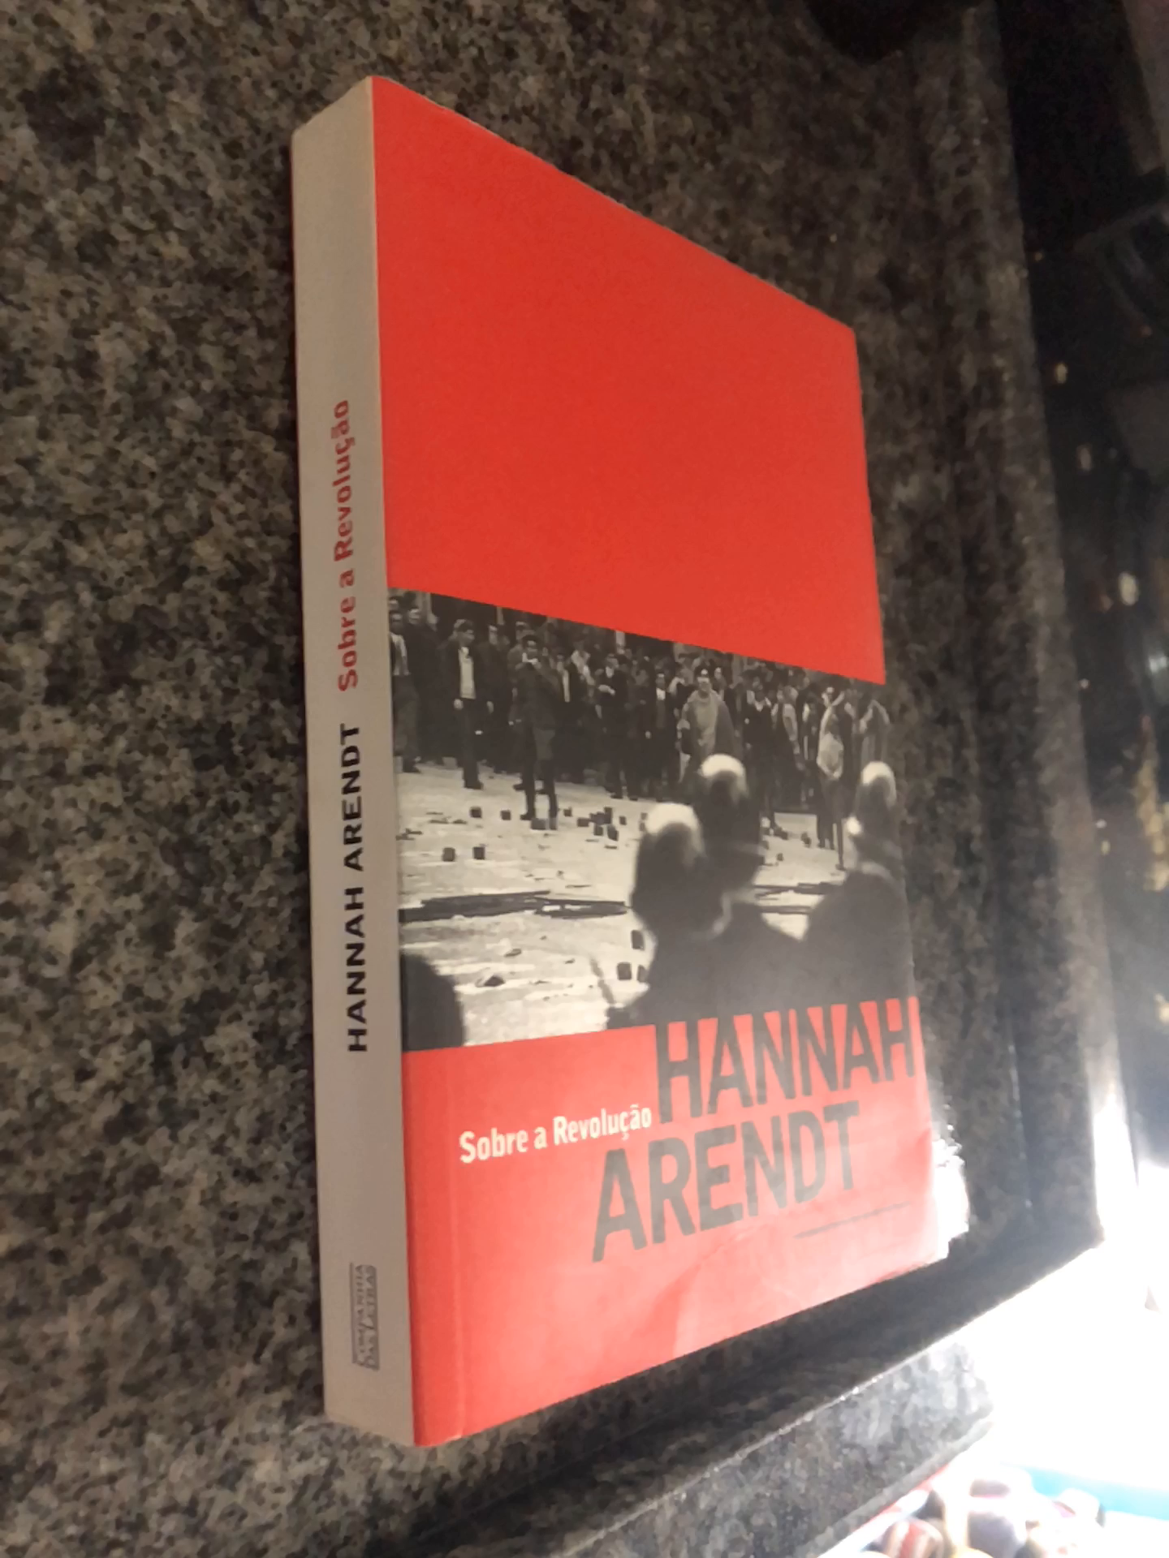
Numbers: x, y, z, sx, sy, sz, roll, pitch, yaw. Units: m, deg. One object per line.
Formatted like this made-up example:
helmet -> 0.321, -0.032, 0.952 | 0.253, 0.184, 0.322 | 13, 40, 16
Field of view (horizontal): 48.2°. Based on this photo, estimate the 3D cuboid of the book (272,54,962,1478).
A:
book -> 0.013, -0.003, 0.252 | 0.146, 0.030, 0.210 | 5, 79, -45
